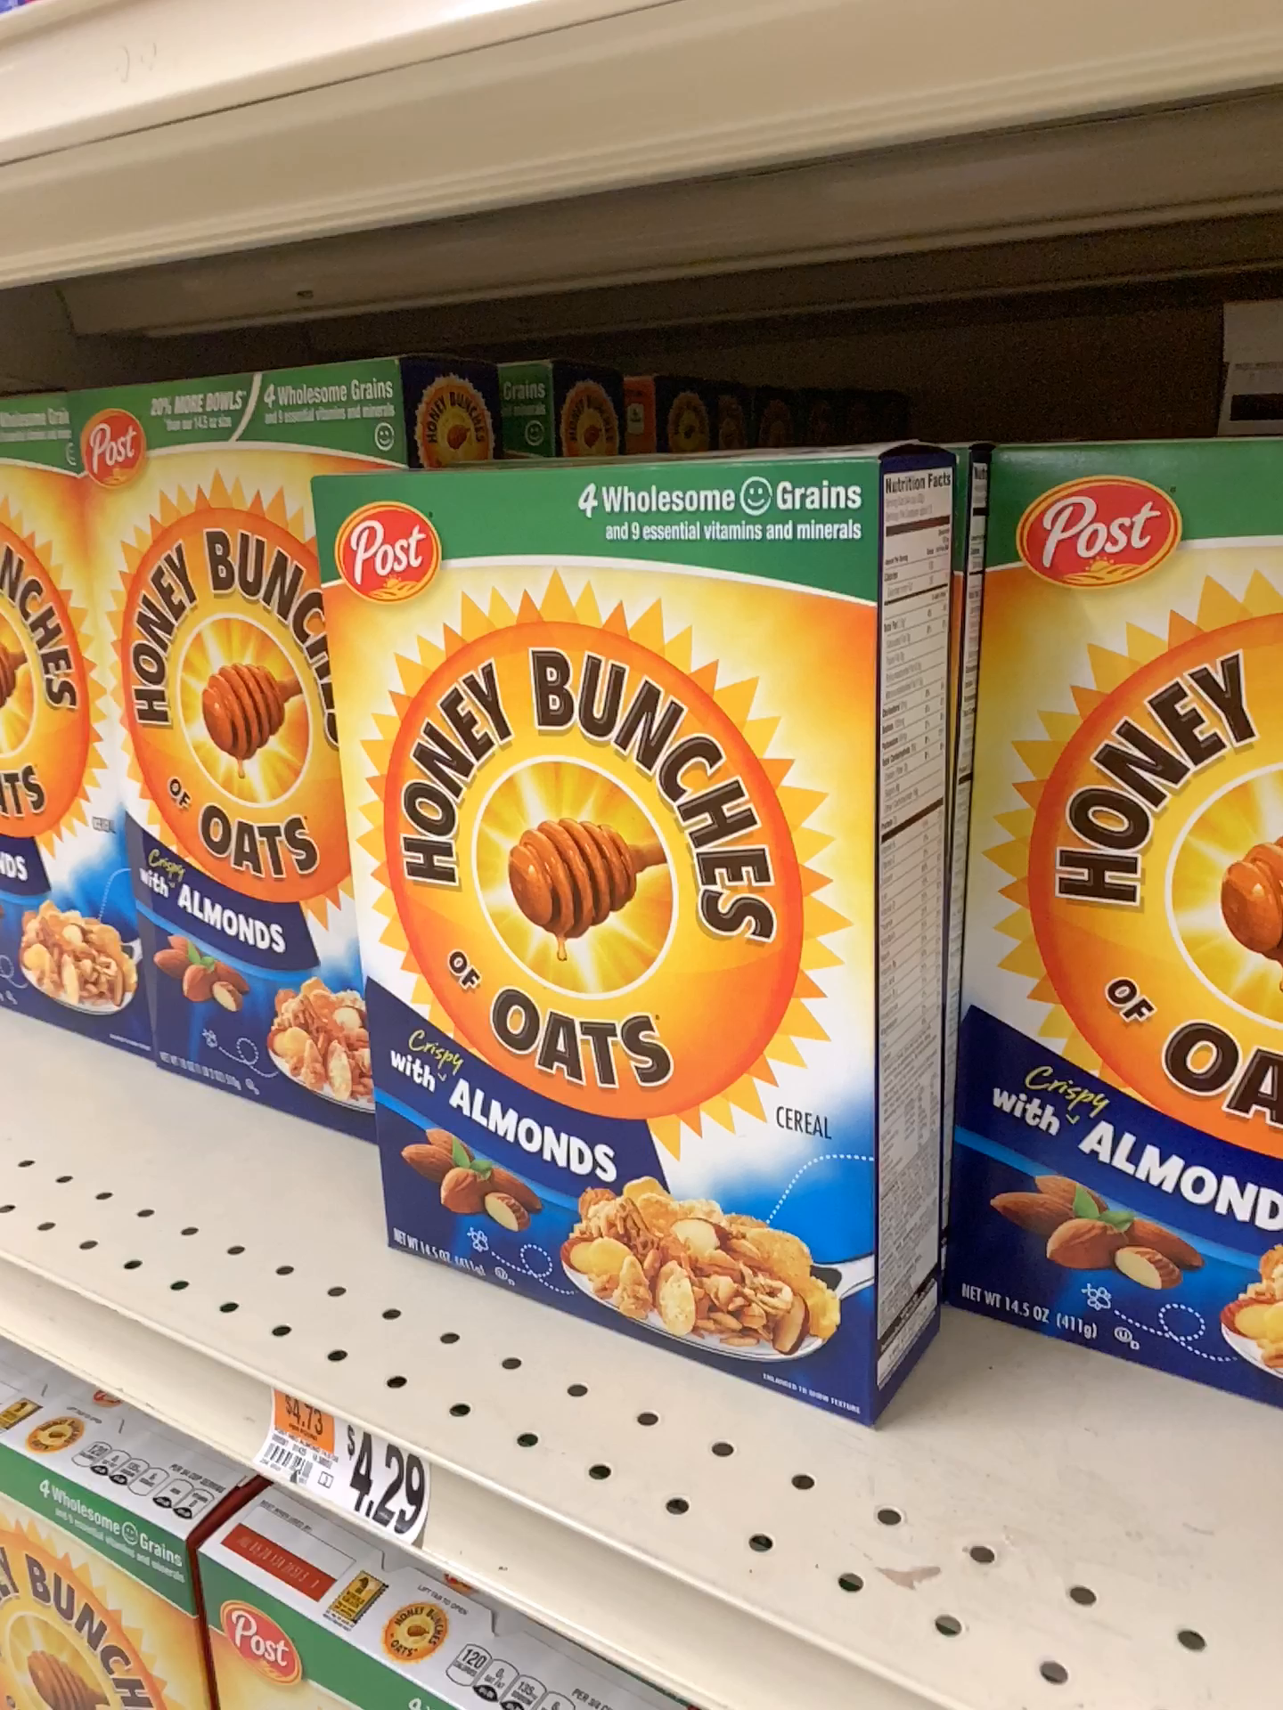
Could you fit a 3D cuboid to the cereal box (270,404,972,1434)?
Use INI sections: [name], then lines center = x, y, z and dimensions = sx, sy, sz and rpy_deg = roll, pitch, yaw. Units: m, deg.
[cereal box]
center = -0.007, 0.011, 0.413
dimensions = 0.200, 0.279, 0.060
rpy_deg = 8, 20, 32
